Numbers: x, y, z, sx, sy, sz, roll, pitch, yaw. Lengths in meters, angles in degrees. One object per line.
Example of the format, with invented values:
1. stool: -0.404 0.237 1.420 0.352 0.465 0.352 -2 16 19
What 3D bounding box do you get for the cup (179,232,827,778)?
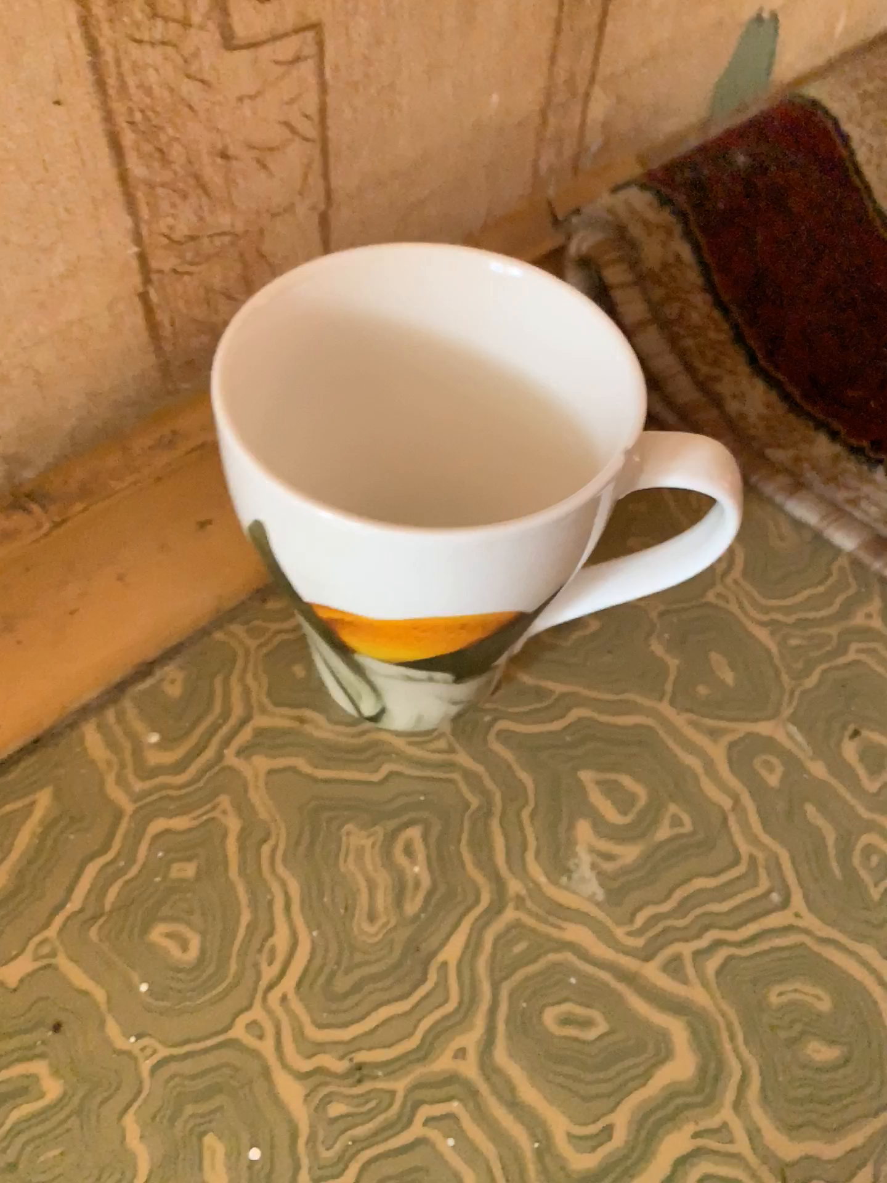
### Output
1. cup: 0.008 -0.017 0.237 0.118 0.099 0.094 1 54 -4
